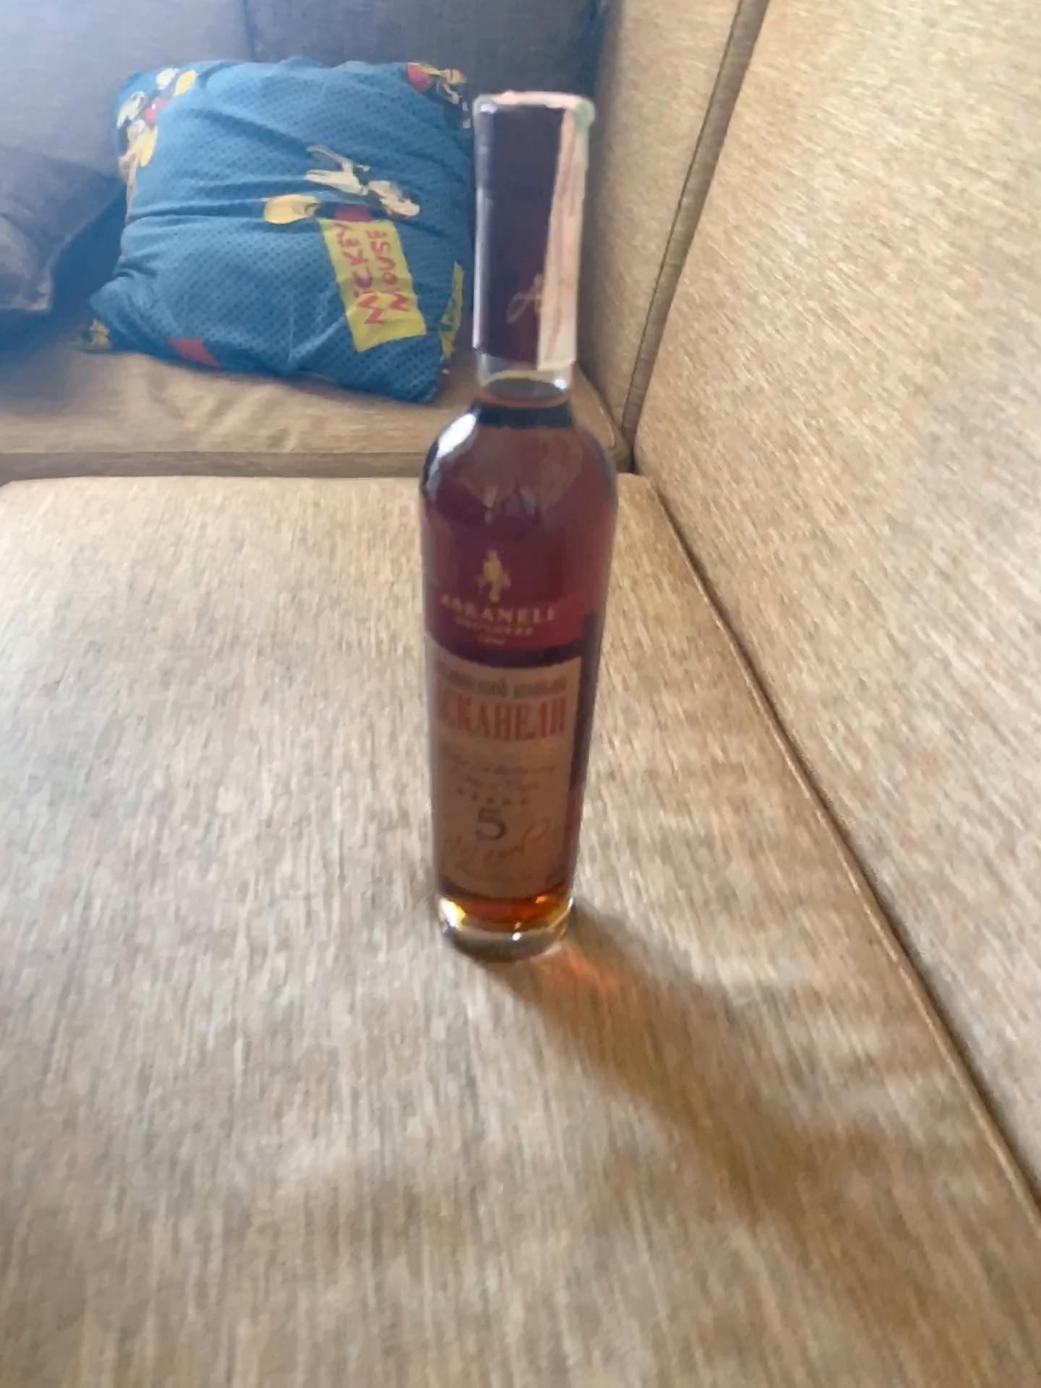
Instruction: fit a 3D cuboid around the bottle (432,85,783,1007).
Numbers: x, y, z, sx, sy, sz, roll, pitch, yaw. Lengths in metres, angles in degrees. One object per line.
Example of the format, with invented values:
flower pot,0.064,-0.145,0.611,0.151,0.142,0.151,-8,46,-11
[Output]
bottle,0.018,-0.028,0.336,0.070,0.279,0.070,3,35,-2
